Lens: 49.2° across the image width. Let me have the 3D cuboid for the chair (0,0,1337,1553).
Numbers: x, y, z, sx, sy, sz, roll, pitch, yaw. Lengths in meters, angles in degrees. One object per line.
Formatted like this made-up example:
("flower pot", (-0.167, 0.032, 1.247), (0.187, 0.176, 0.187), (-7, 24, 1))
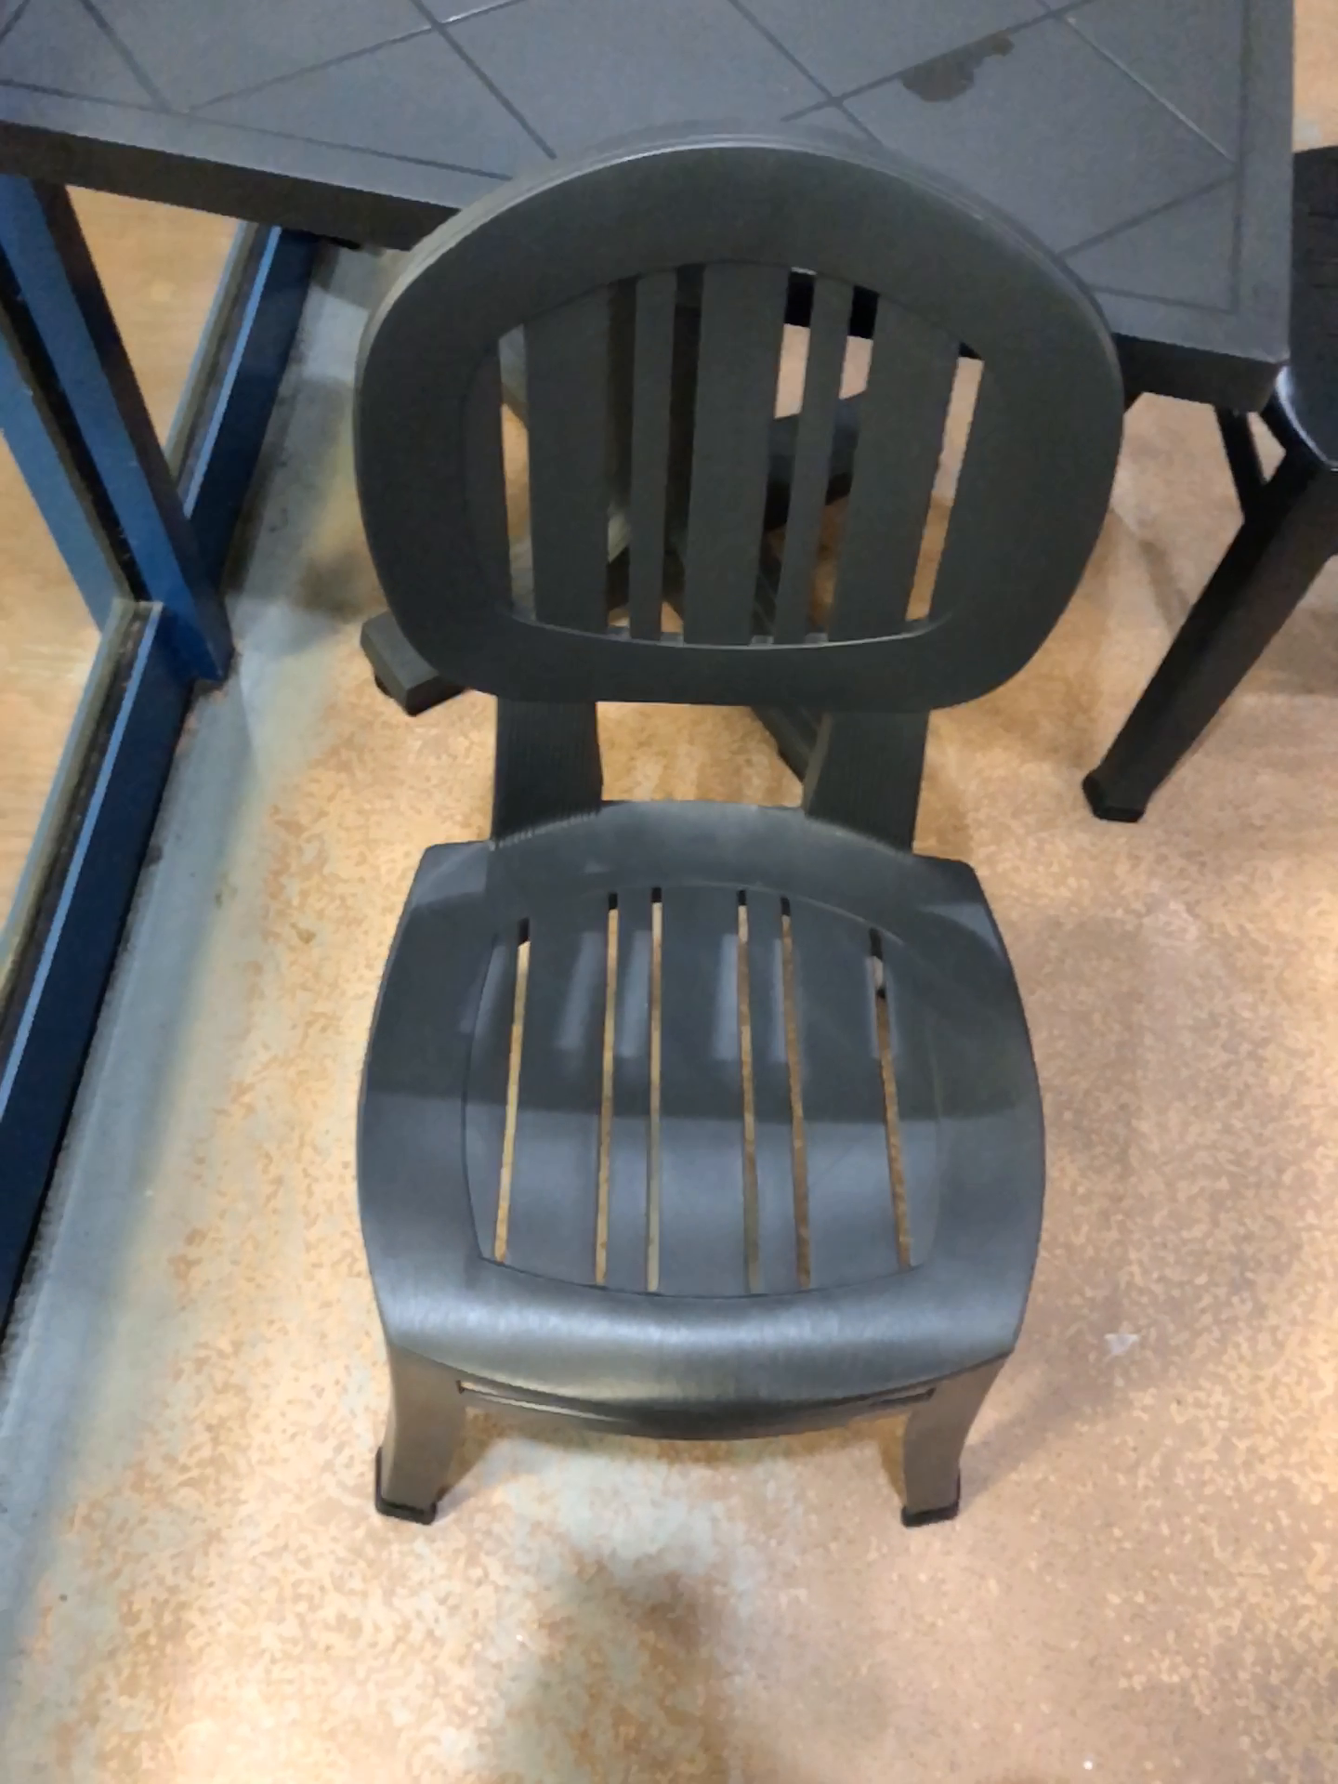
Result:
("chair", (0.041, 0.031, 0.790), (0.500, 0.737, 0.552), (2, 63, -2))
